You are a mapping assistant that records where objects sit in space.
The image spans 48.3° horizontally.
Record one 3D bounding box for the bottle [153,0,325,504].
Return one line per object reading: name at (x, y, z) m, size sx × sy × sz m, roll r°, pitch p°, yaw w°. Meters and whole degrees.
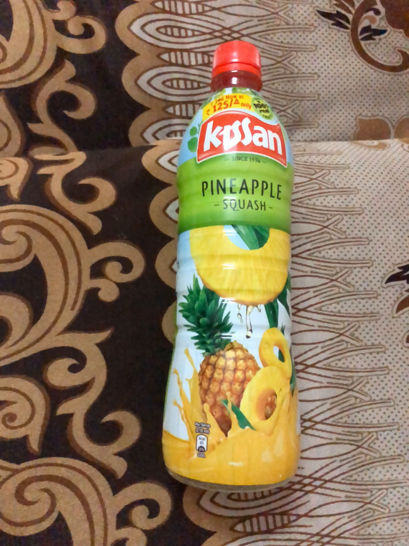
bottle at (0.017, -0.016, 0.244) m, size 0.070 × 0.060 × 0.240 m, roll 4°, pitch 82°, yaw -12°
